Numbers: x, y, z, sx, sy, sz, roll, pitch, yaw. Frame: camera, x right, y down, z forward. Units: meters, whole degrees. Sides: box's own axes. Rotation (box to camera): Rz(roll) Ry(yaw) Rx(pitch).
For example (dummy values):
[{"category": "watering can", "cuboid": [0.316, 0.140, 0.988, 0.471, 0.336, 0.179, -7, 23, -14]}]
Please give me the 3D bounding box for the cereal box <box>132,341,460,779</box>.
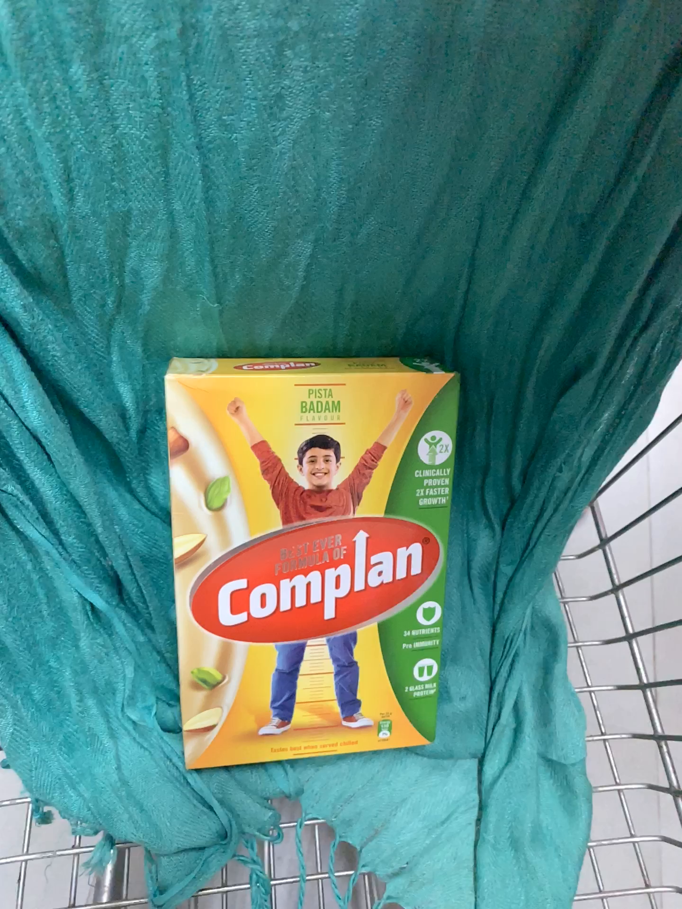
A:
[{"category": "cereal box", "cuboid": [-0.021, 0.049, 0.353, 0.140, 0.060, 0.200, -3, 105, -9]}]
